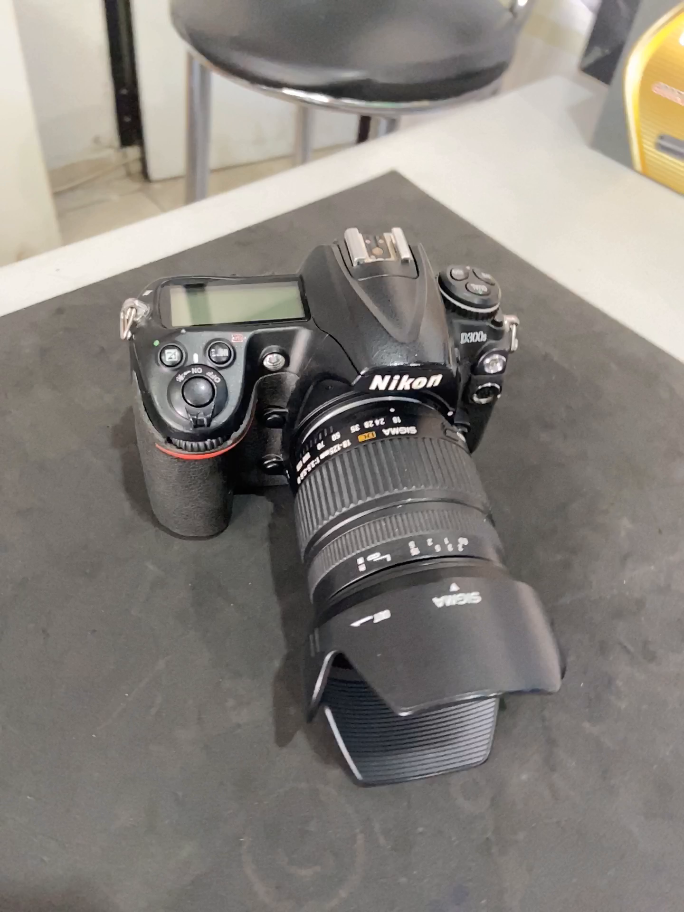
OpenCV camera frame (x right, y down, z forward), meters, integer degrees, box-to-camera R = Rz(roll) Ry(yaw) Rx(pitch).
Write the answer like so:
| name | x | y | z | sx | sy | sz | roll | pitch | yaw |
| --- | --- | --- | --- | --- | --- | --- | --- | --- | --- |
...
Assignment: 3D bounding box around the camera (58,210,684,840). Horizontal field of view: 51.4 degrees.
| name | x | y | z | sx | sy | sz | roll | pitch | yaw |
| --- | --- | --- | --- | --- | --- | --- | --- | --- | --- |
| camera | 0.007 | 0.011 | 0.255 | 0.170 | 0.109 | 0.181 | -4 | 50 | -10 |
